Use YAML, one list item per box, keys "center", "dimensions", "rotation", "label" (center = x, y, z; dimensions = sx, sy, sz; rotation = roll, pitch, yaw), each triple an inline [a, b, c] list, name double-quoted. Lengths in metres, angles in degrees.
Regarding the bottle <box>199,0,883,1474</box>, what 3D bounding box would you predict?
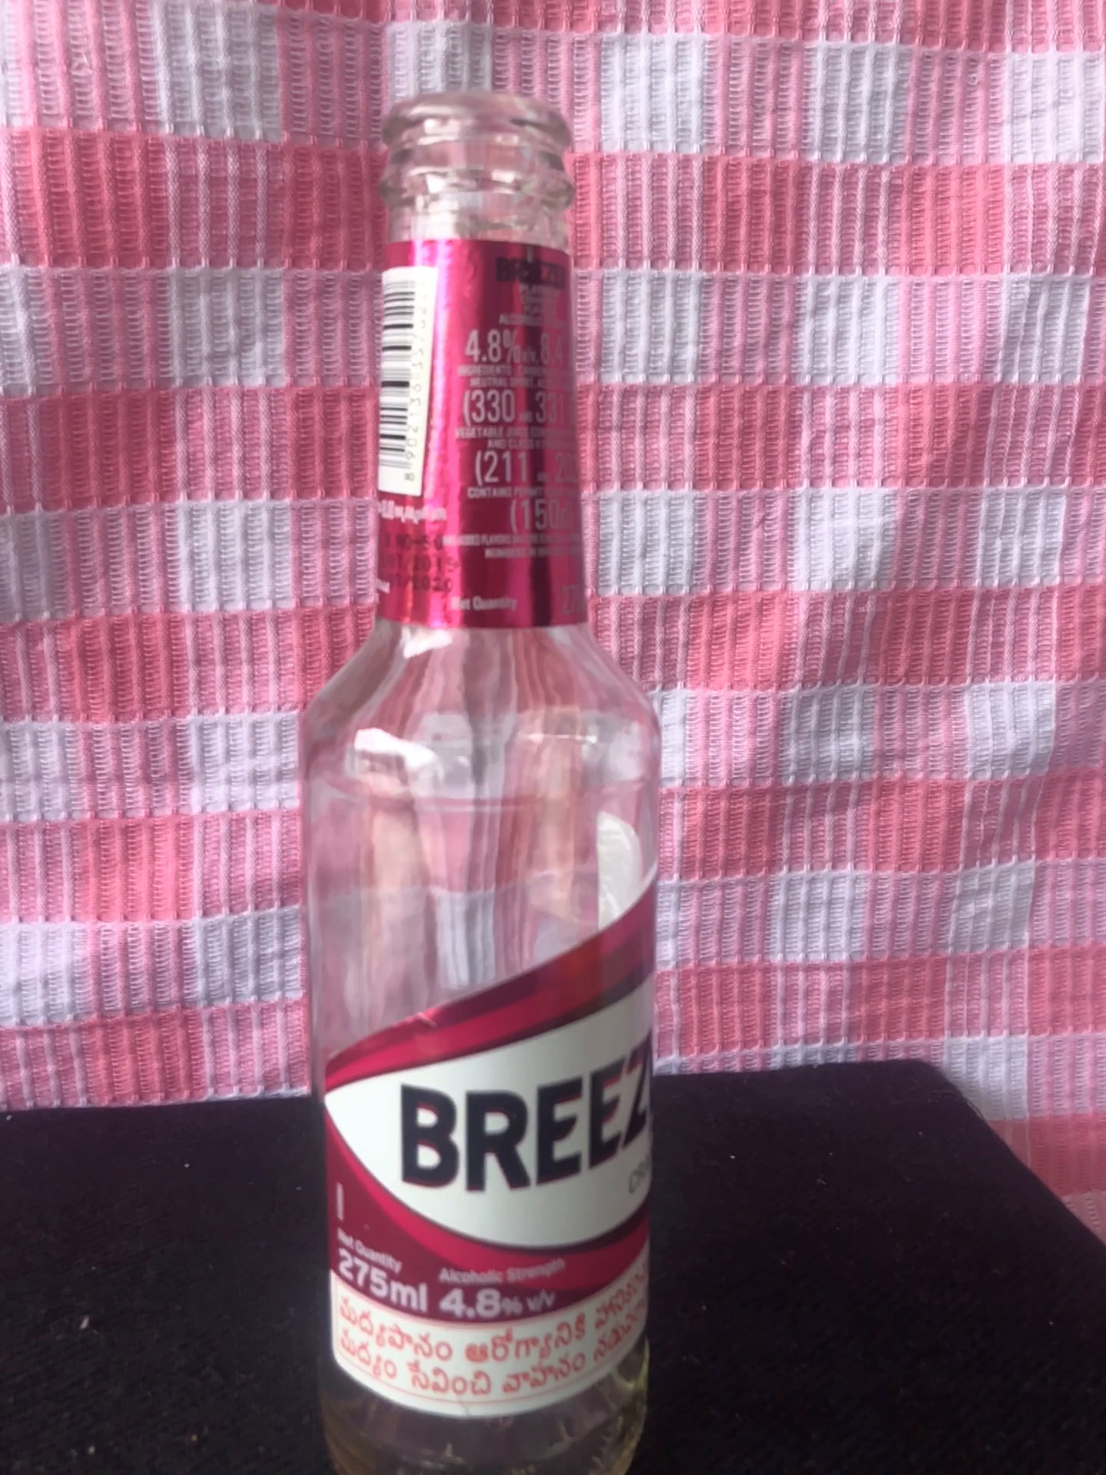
- center: [-0.008, 0.022, 0.174]
  dimensions: [0.060, 0.209, 0.060]
  rotation: [2, 13, -1]
  label: "bottle"
